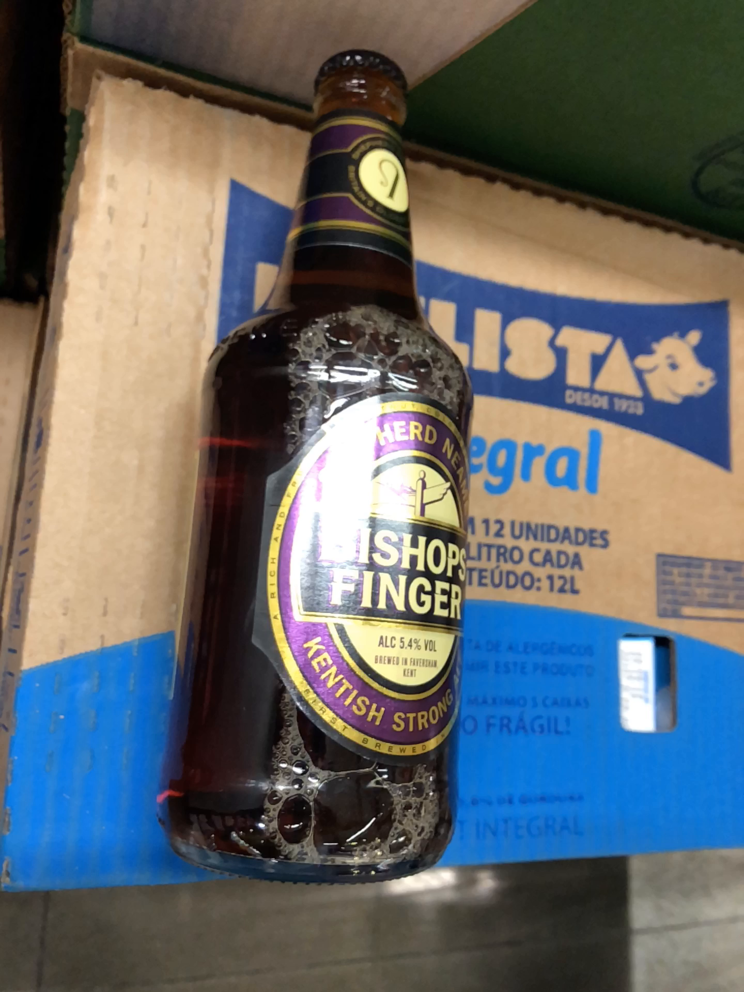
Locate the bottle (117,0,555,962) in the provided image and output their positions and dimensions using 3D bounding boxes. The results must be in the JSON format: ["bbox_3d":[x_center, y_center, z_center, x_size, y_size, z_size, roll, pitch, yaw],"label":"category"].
[{"bbox_3d":[-0.007,-0.031,0.217,0.080,0.070,0.250,8,77,-22],"label":"bottle"}]
